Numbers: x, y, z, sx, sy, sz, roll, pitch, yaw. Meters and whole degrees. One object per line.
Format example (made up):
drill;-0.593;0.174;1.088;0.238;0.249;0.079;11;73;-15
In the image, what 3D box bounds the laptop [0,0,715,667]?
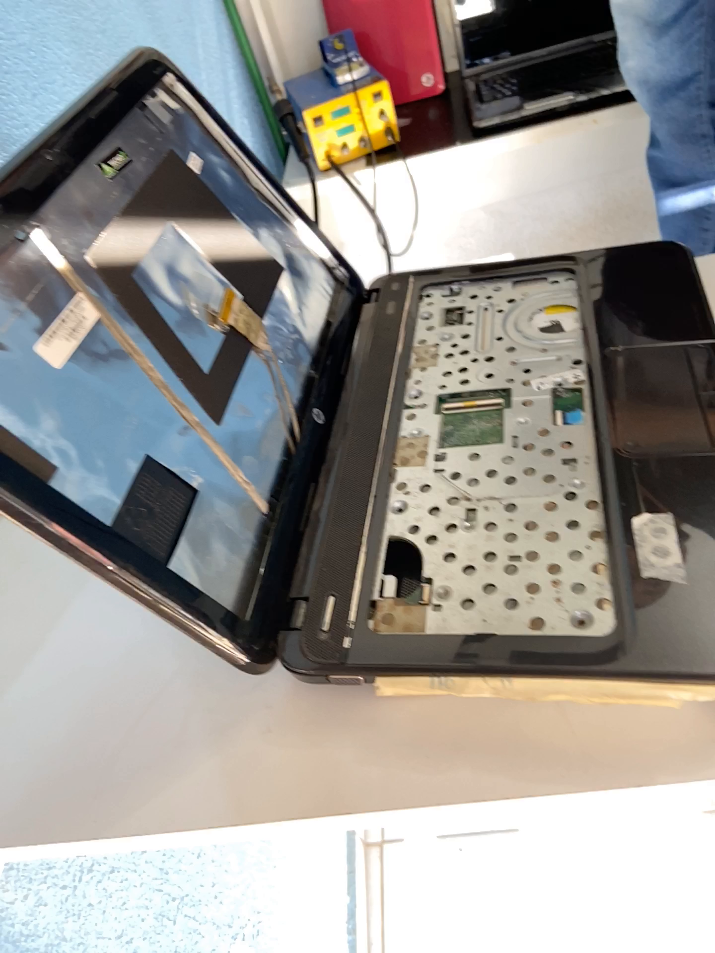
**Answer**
laptop;0.016;-0.103;0.378;0.324;0.186;0.337;-4;44;16
